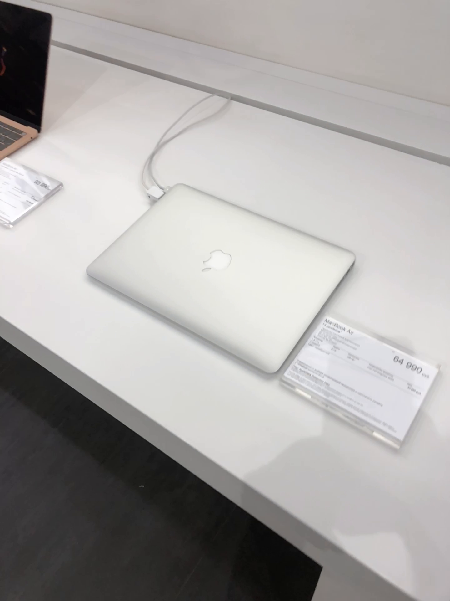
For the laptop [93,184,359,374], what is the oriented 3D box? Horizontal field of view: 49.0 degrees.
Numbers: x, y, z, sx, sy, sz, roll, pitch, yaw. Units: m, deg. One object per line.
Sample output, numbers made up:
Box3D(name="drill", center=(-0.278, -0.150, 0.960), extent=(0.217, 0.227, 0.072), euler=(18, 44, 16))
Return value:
Box3D(name="laptop", center=(-0.002, -0.051, 0.692), extent=(0.308, 0.008, 0.210), euler=(27, 60, 25))
